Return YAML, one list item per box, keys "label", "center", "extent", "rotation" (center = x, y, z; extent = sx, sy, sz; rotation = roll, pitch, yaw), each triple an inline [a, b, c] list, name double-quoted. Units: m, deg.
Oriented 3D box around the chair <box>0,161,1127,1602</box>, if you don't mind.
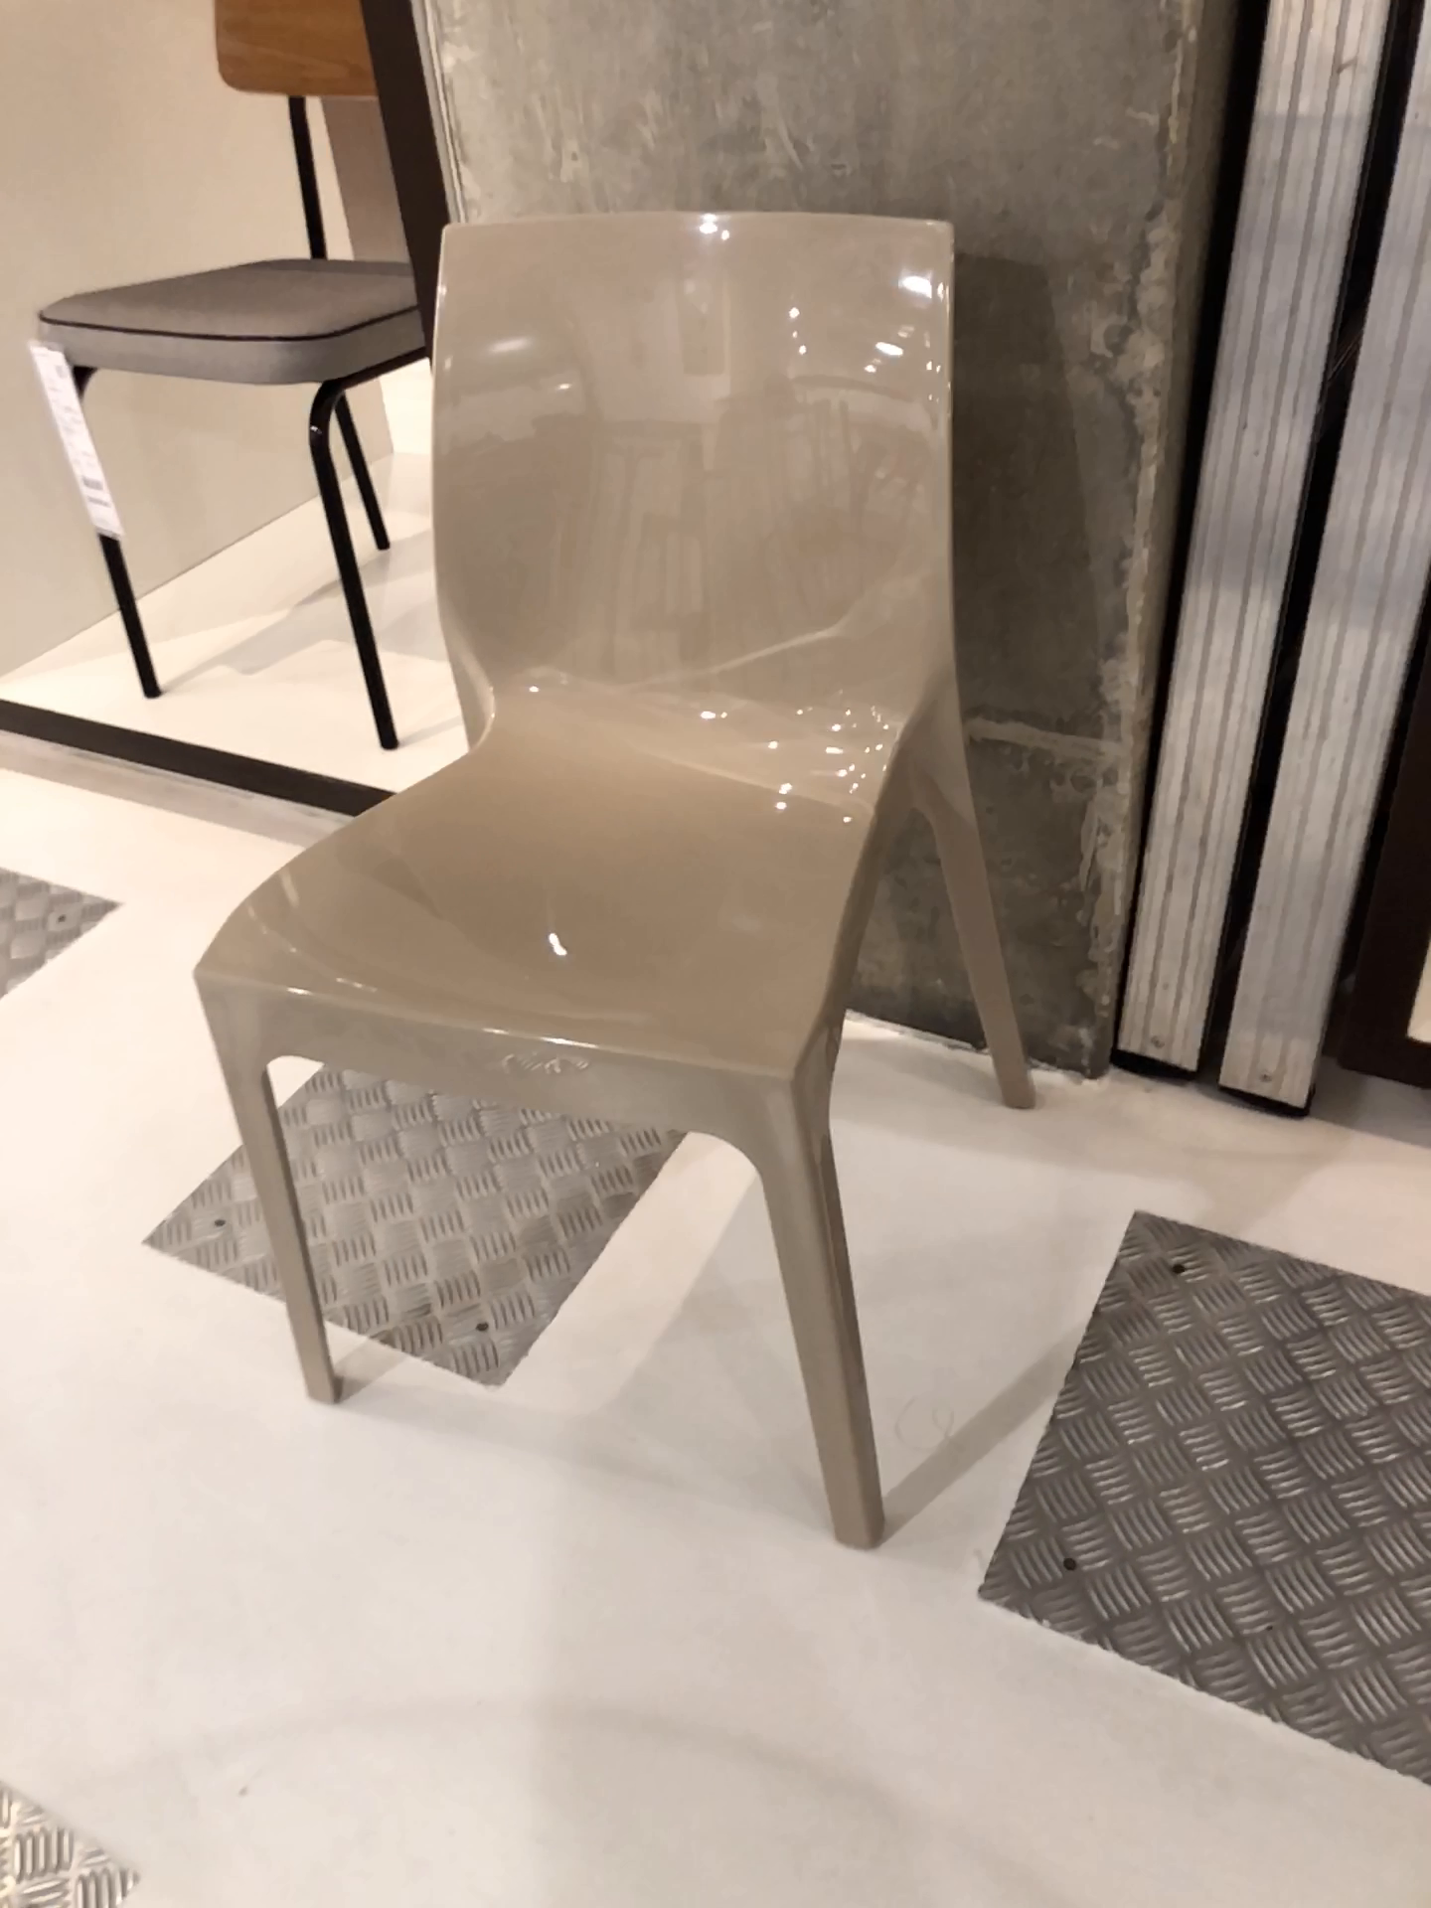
- label: "chair"
  center: [-0.052, -0.074, 1.166]
  extent: [0.550, 0.824, 0.564]
  rotation: [9, 39, 19]
